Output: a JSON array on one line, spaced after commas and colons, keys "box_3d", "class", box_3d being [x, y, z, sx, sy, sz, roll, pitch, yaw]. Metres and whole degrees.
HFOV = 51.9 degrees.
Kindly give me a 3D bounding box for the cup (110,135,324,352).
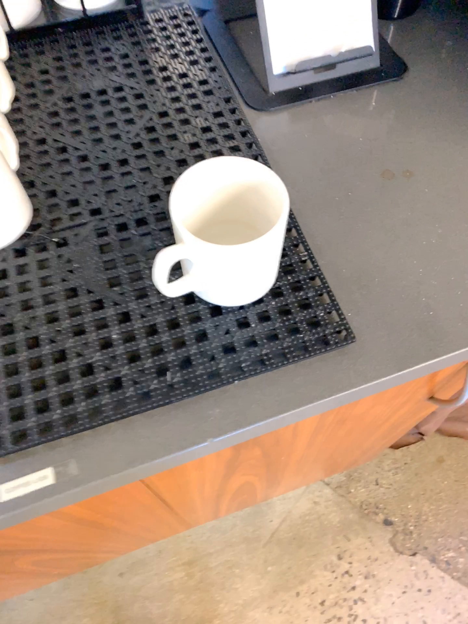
[{"box_3d": [-0.011, -0.053, 0.372, 0.120, 0.080, 0.090, -38, 68, -18], "class": "cup"}]
